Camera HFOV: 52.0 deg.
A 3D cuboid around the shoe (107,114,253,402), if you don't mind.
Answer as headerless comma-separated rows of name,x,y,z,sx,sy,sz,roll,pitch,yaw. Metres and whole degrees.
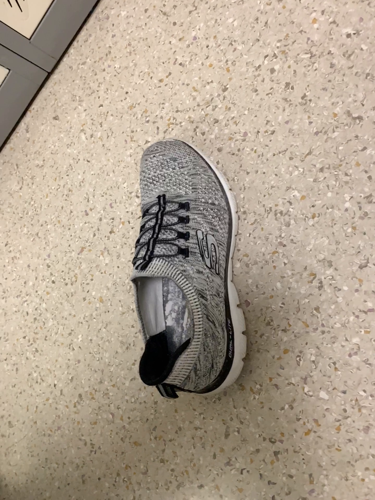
shoe,-0.008,0.010,0.380,0.094,0.093,0.241,-9,80,30
